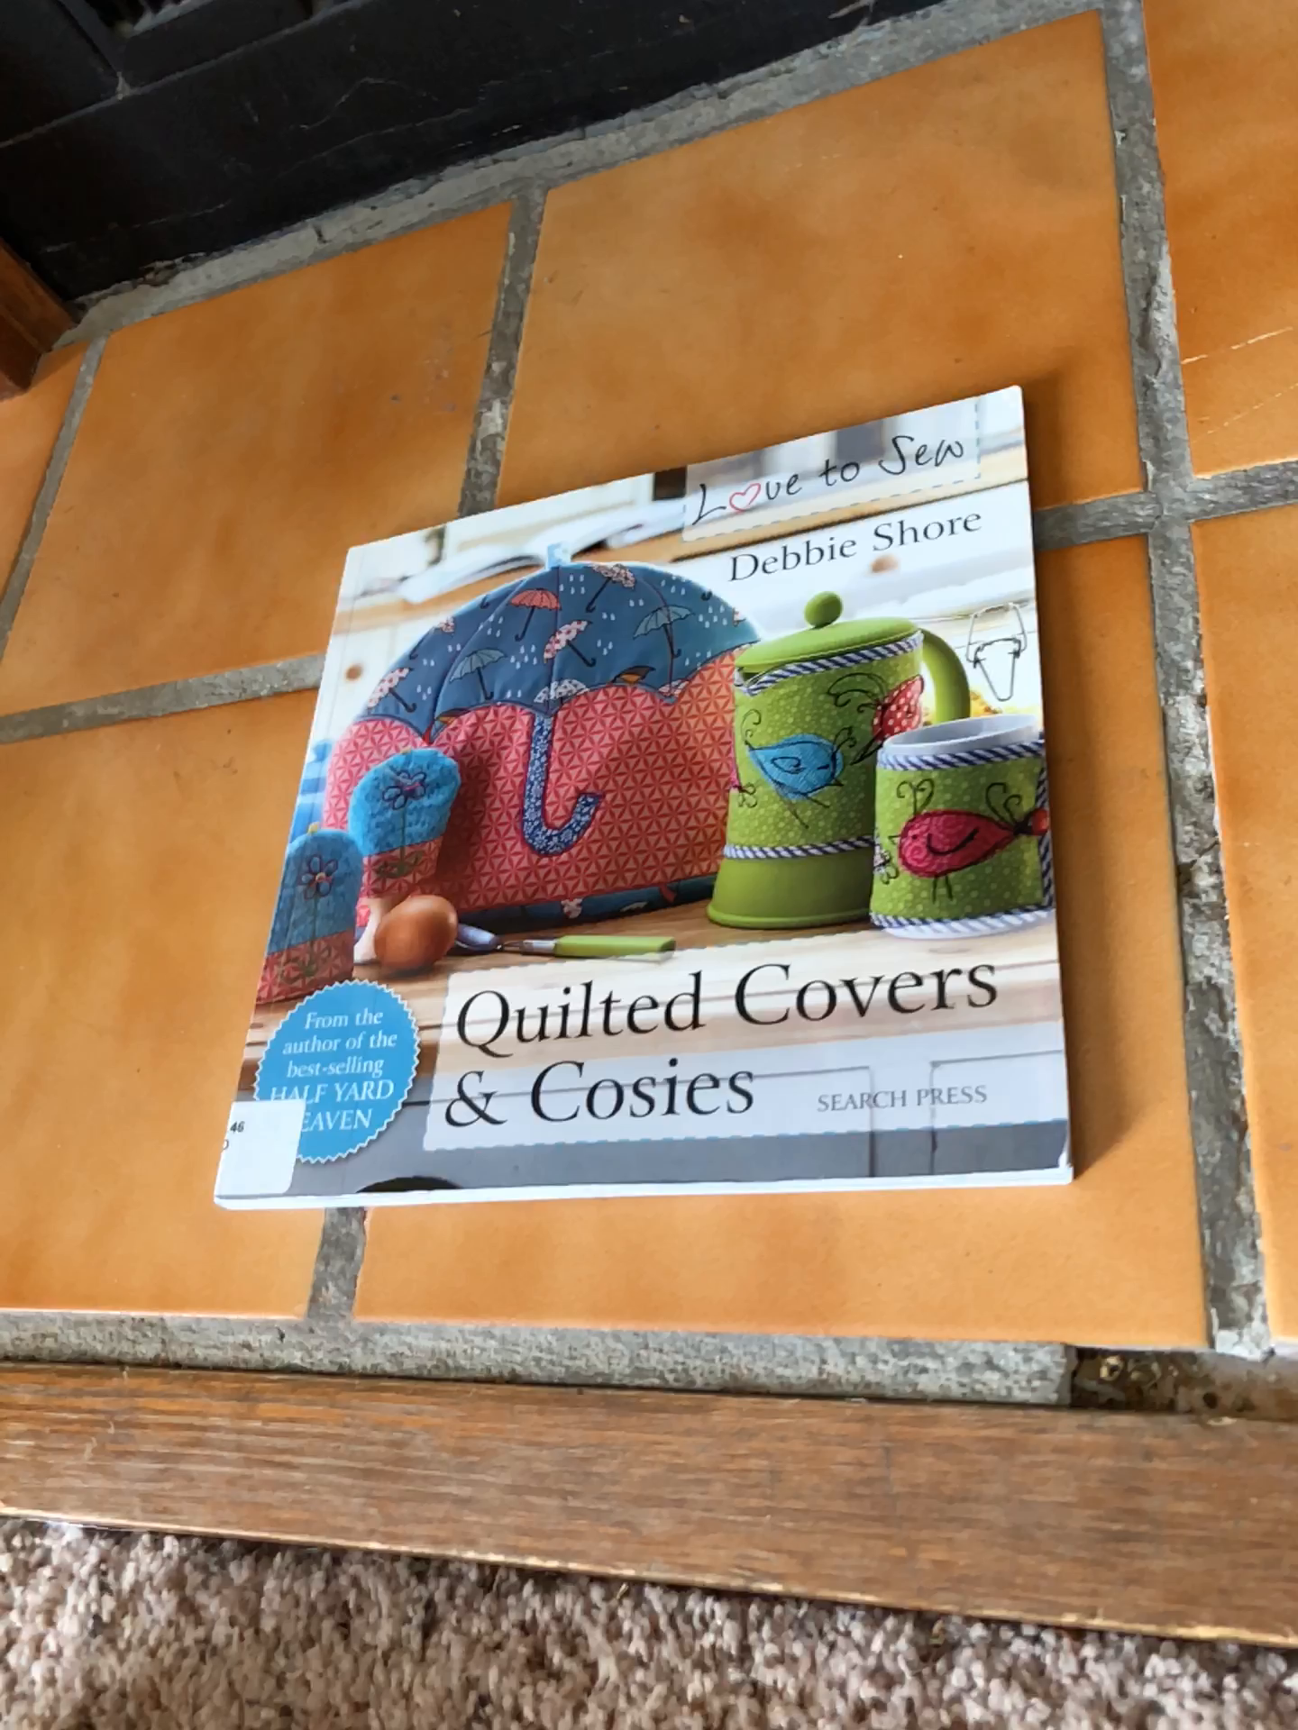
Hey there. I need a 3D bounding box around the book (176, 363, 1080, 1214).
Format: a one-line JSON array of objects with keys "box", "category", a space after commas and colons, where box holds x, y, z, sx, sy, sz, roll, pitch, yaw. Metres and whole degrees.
[{"box": [-0.009, -0.021, 0.385, 0.225, 0.015, 0.219, -7, 61, 22], "category": "book"}]
